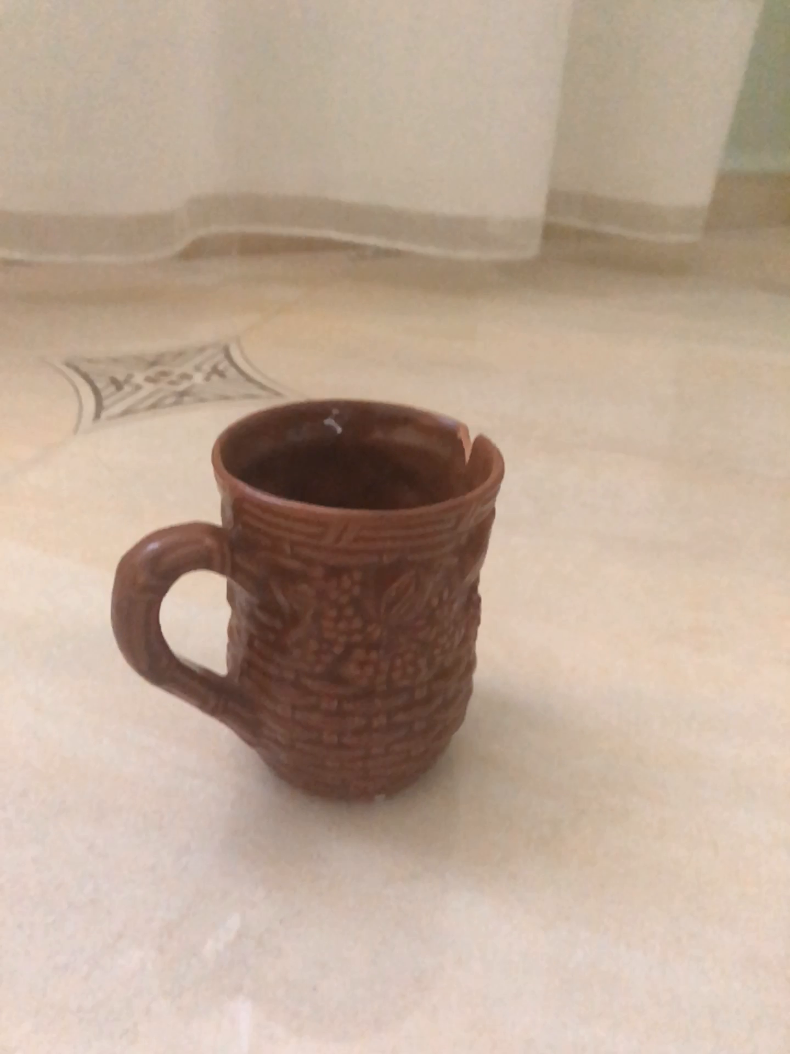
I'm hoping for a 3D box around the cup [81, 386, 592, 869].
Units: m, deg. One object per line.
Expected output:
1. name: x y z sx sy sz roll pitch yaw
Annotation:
1. cup: -0.019 0.018 0.230 0.104 0.081 0.073 -9 30 -21
